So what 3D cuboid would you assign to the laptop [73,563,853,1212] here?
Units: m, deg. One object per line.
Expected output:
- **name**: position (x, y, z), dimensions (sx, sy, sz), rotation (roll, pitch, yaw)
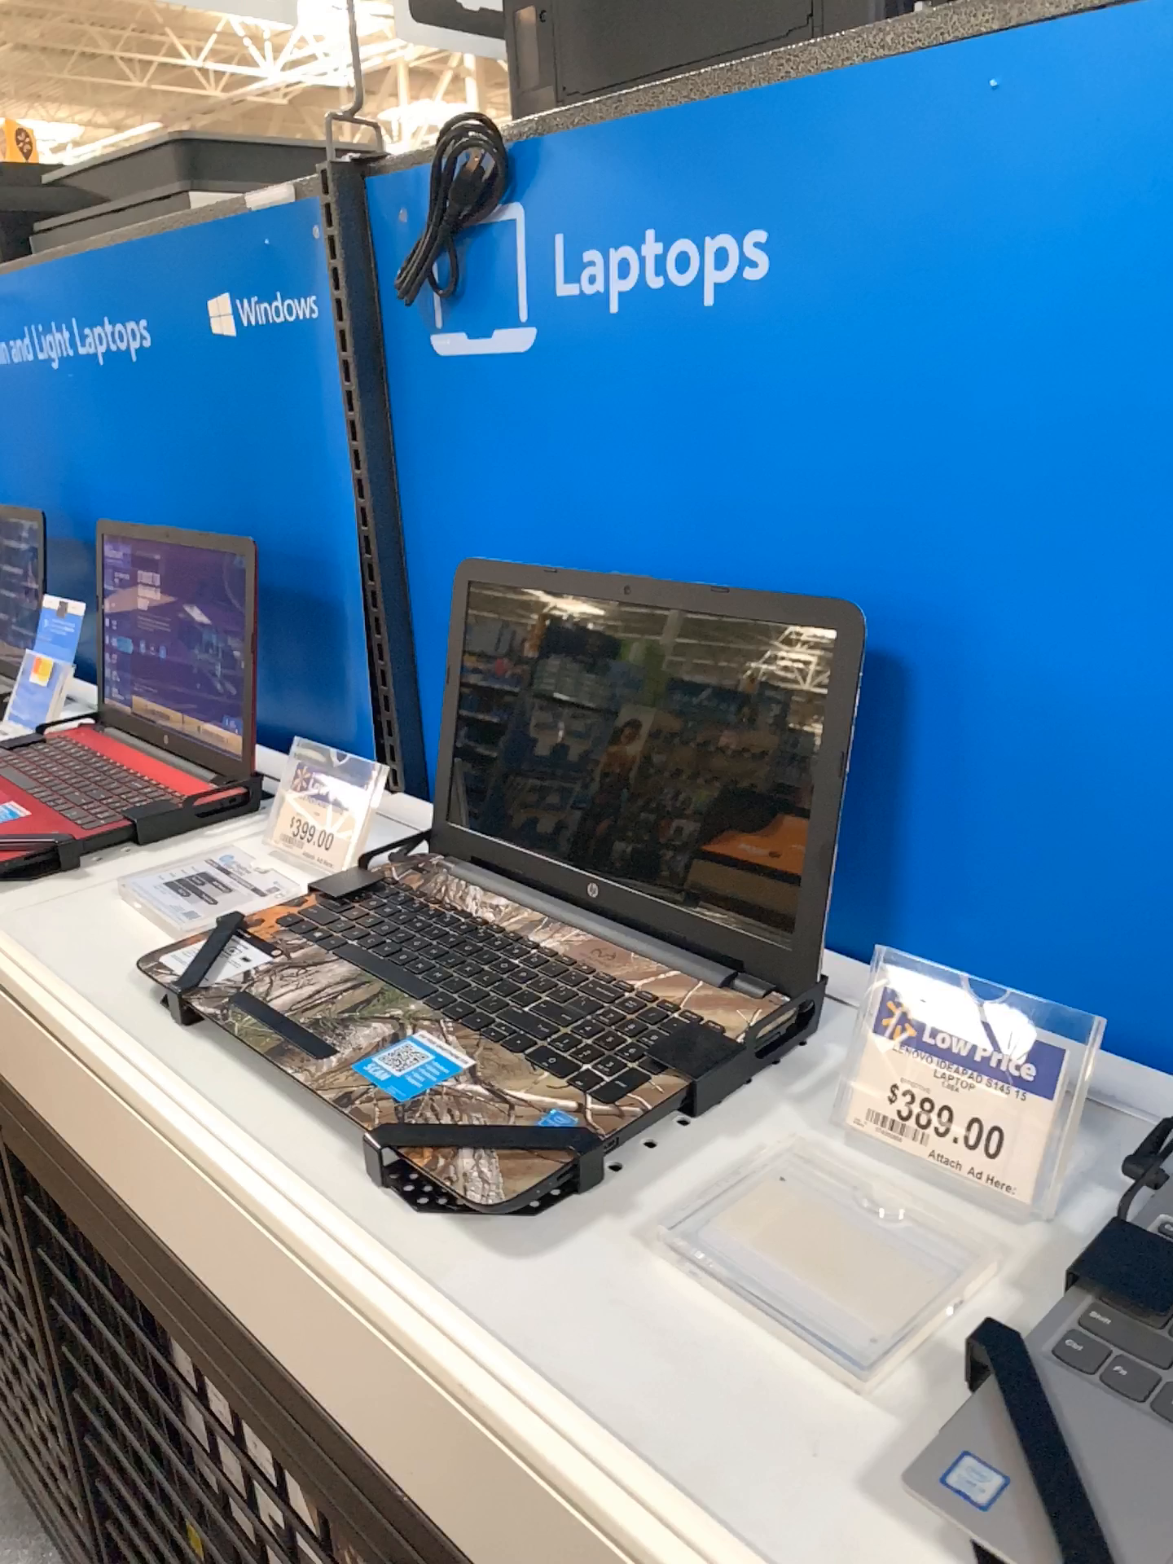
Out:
- **laptop**: position (-0.077, 0.012, 0.747), dimensions (0.303, 0.228, 0.375), rotation (-19, 24, -40)
